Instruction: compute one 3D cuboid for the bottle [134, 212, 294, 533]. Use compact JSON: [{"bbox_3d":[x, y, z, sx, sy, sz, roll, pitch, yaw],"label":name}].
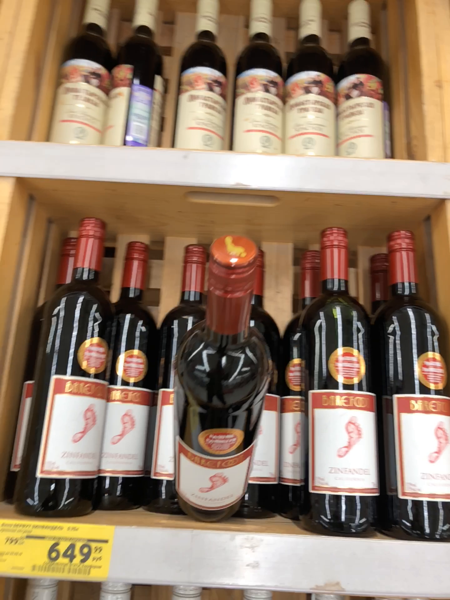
[{"bbox_3d":[-0.009,0.079,0.379,0.080,0.289,0.080,1,44,-1],"label":"bottle"}]
